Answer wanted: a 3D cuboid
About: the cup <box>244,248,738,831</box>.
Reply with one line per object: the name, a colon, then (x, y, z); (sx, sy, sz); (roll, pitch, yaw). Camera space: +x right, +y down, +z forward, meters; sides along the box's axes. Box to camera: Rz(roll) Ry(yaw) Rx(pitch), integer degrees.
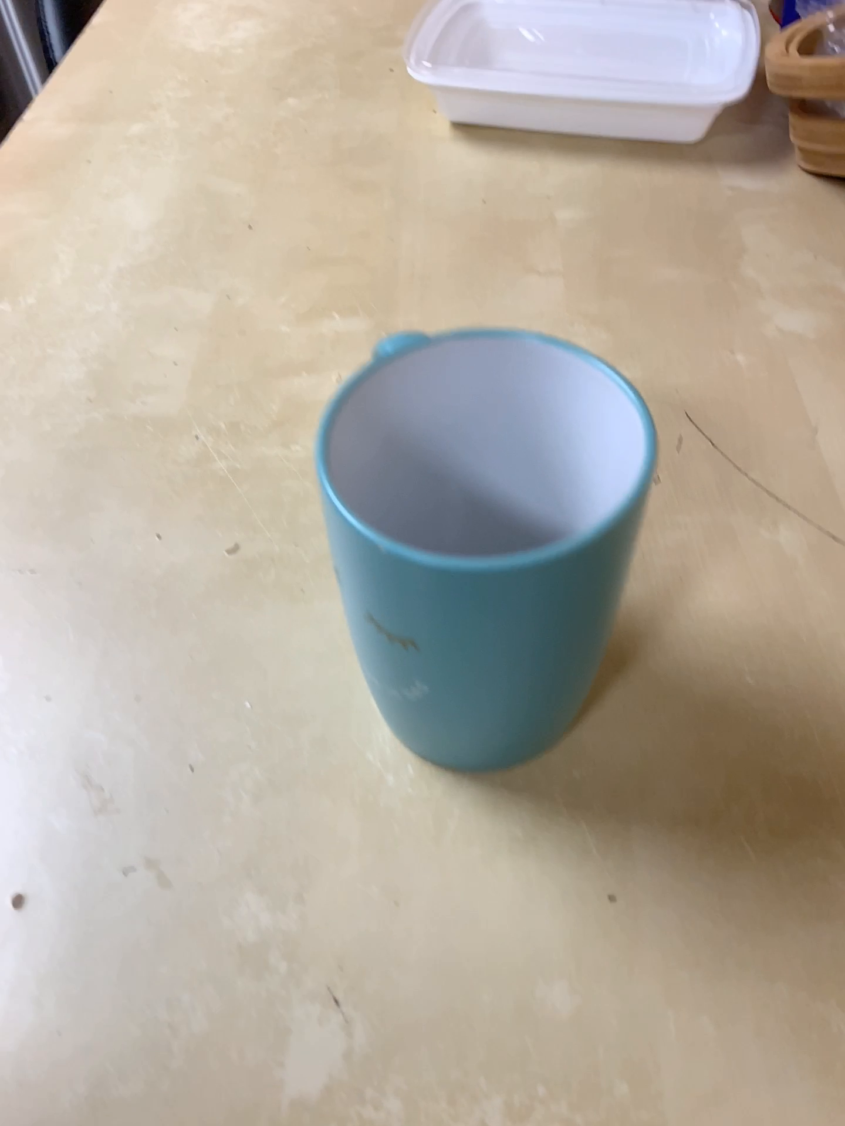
cup: (0.012, -0.008, 0.275); (0.091, 0.114, 0.122); (-17, 52, -11)
